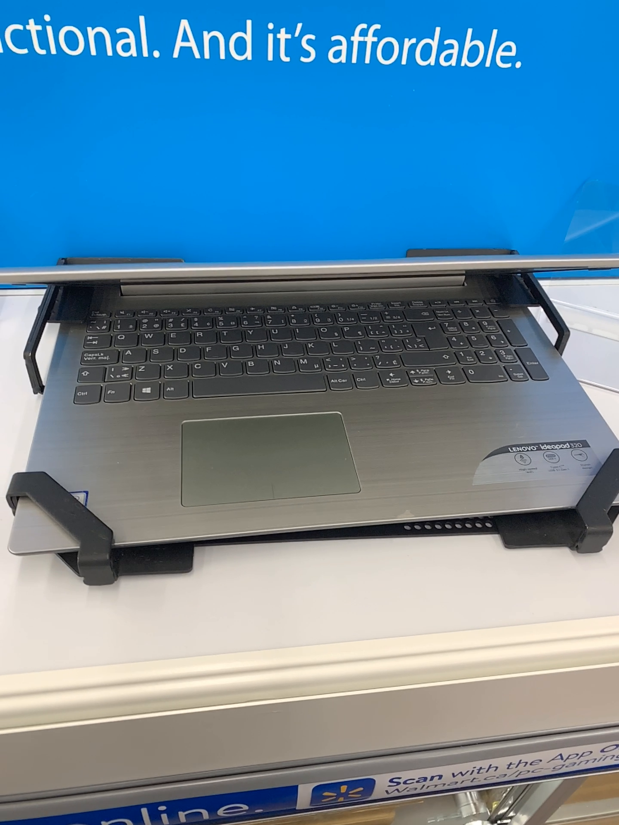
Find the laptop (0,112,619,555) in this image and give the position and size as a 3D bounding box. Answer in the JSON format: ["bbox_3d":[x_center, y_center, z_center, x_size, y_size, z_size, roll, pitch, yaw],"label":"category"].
[{"bbox_3d":[0.012,-0.066,0.357,0.326,0.115,0.230,-3,43,-9],"label":"laptop"}]
